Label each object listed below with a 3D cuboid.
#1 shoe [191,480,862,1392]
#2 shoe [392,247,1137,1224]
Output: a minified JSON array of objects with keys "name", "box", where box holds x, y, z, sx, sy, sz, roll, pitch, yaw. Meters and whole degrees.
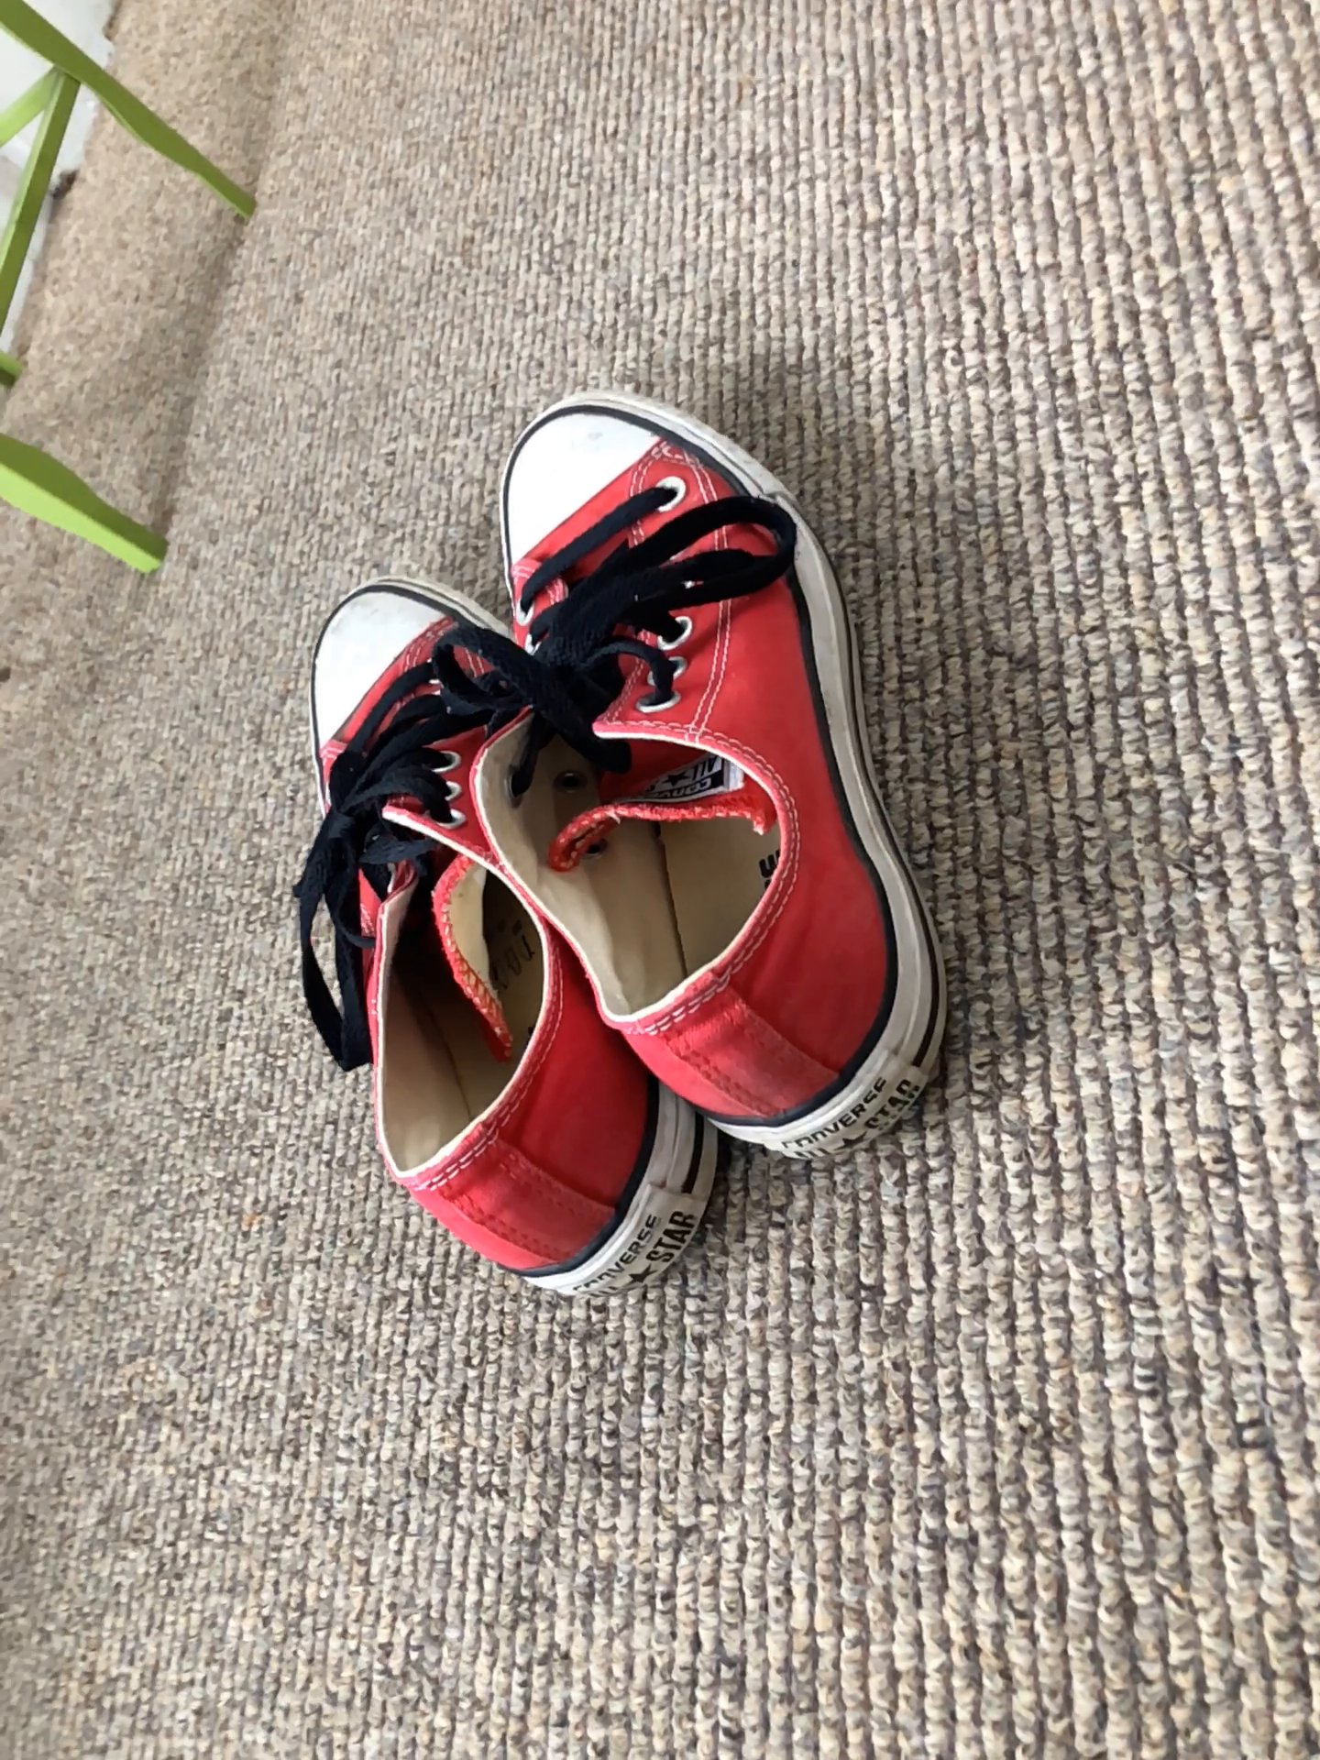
[{"name":"shoe","box":[-0.057,0.005,0.451,0.102,0.096,0.263,-41,47,17]},{"name":"shoe","box":[0.012,-0.052,0.409,0.102,0.088,0.260,-37,48,20]}]
